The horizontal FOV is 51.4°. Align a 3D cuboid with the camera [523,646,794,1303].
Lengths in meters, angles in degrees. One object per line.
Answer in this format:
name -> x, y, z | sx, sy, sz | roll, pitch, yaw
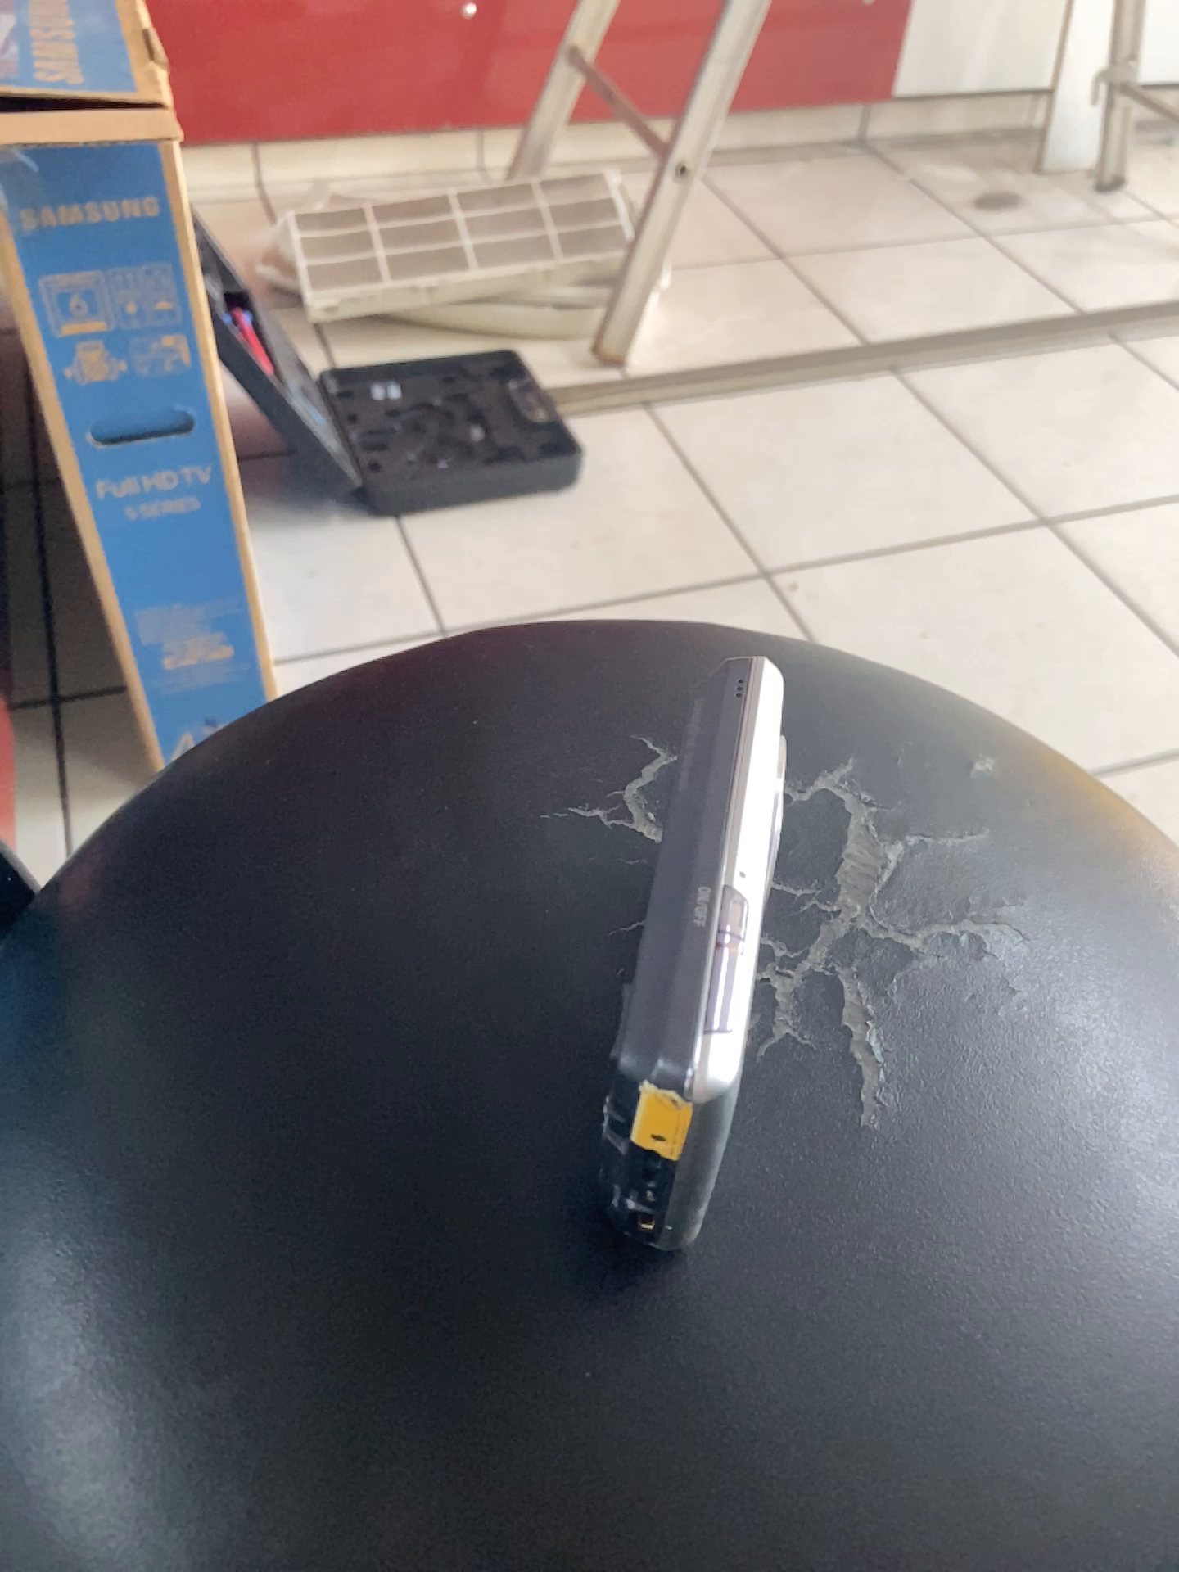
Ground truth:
camera -> 0.014, 0.031, 0.226 | 0.030, 0.060, 0.101 | 10, 46, 5
